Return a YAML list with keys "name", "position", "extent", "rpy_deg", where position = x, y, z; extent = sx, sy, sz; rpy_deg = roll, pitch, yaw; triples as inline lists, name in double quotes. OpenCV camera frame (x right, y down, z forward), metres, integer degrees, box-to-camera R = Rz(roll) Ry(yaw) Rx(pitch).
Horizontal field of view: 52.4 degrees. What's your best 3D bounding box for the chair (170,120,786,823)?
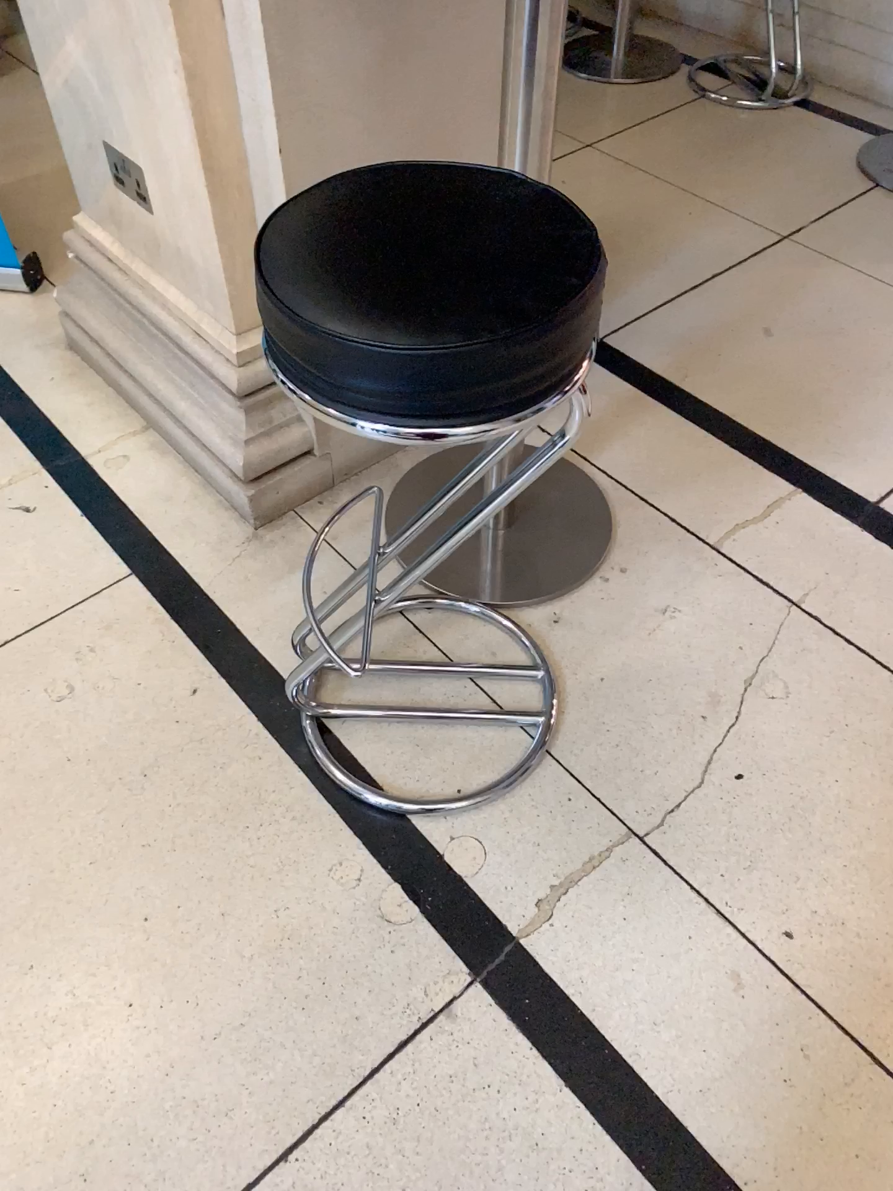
- name: "chair"
  position: [0.031, -0.102, 1.202]
  extent: [0.503, 0.813, 0.468]
  rpy_deg: [-1, 50, 1]
